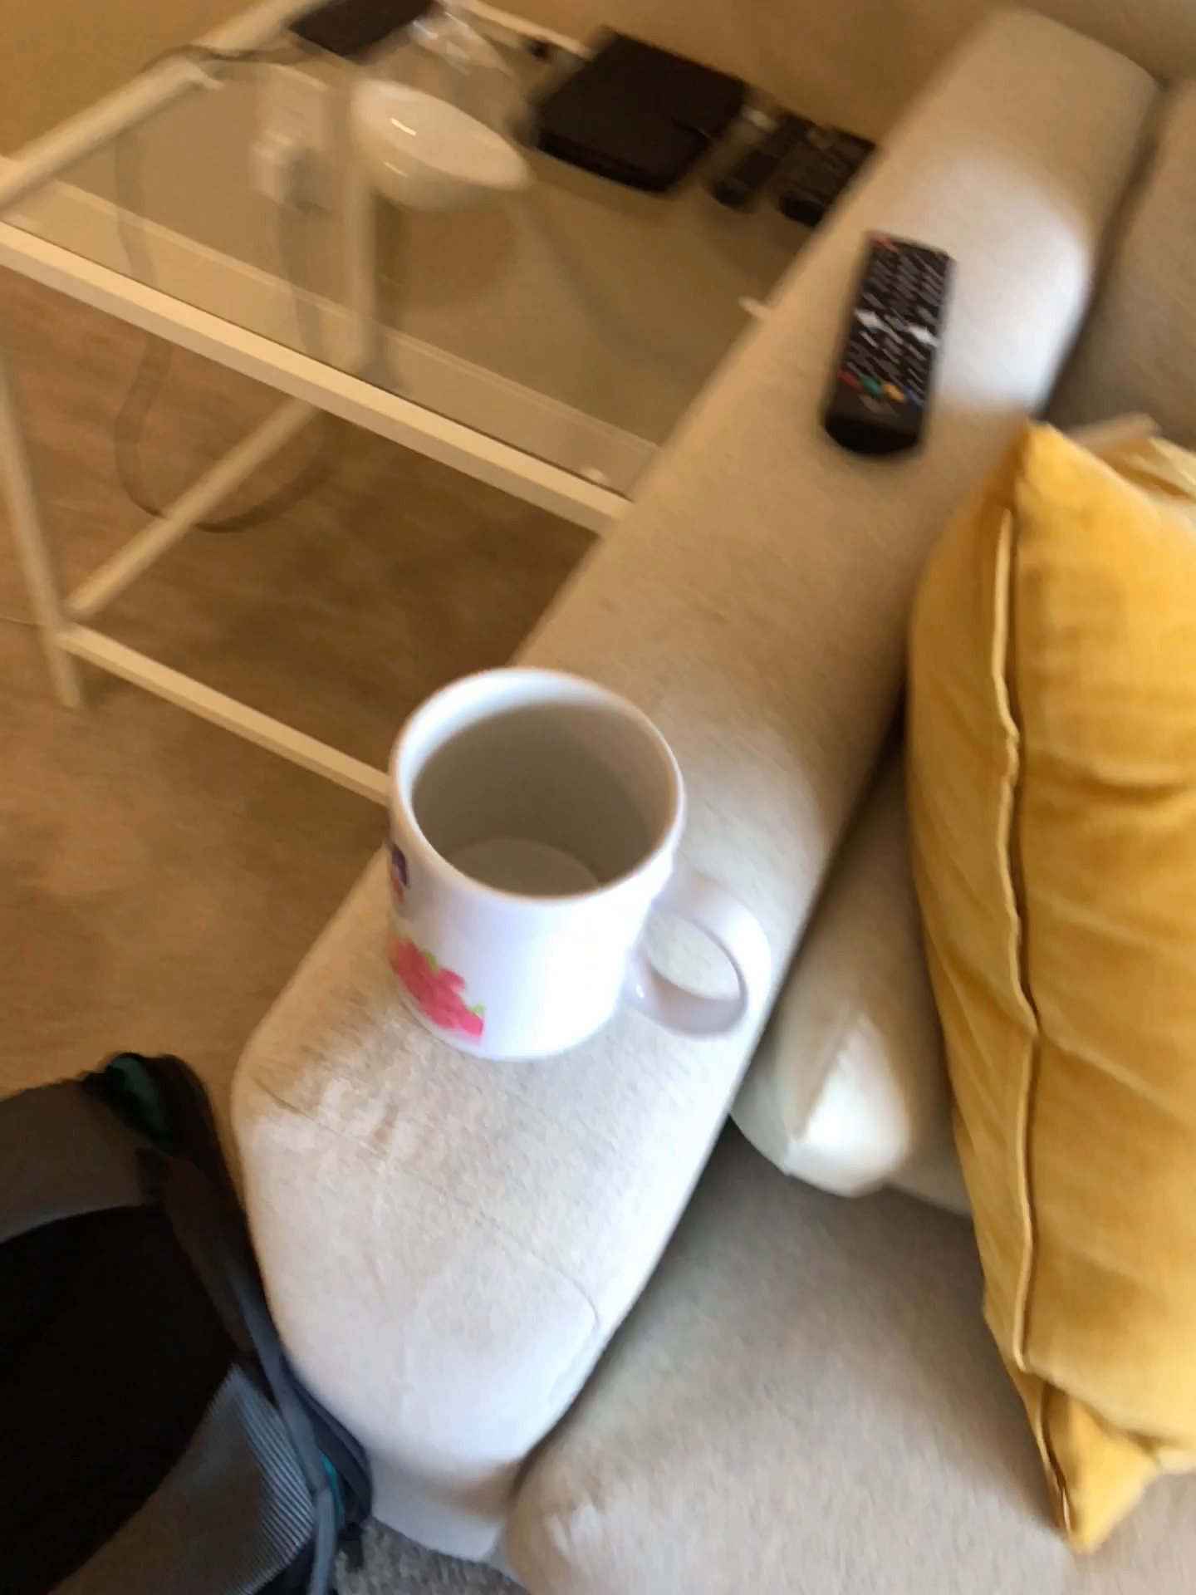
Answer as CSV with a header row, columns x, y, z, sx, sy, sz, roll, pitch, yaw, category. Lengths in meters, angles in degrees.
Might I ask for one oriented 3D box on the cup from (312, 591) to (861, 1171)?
x,y,z,sx,sy,sz,roll,pitch,yaw,category
-0.008,0.025,0.385,0.120,0.100,0.080,30,54,12,cup
